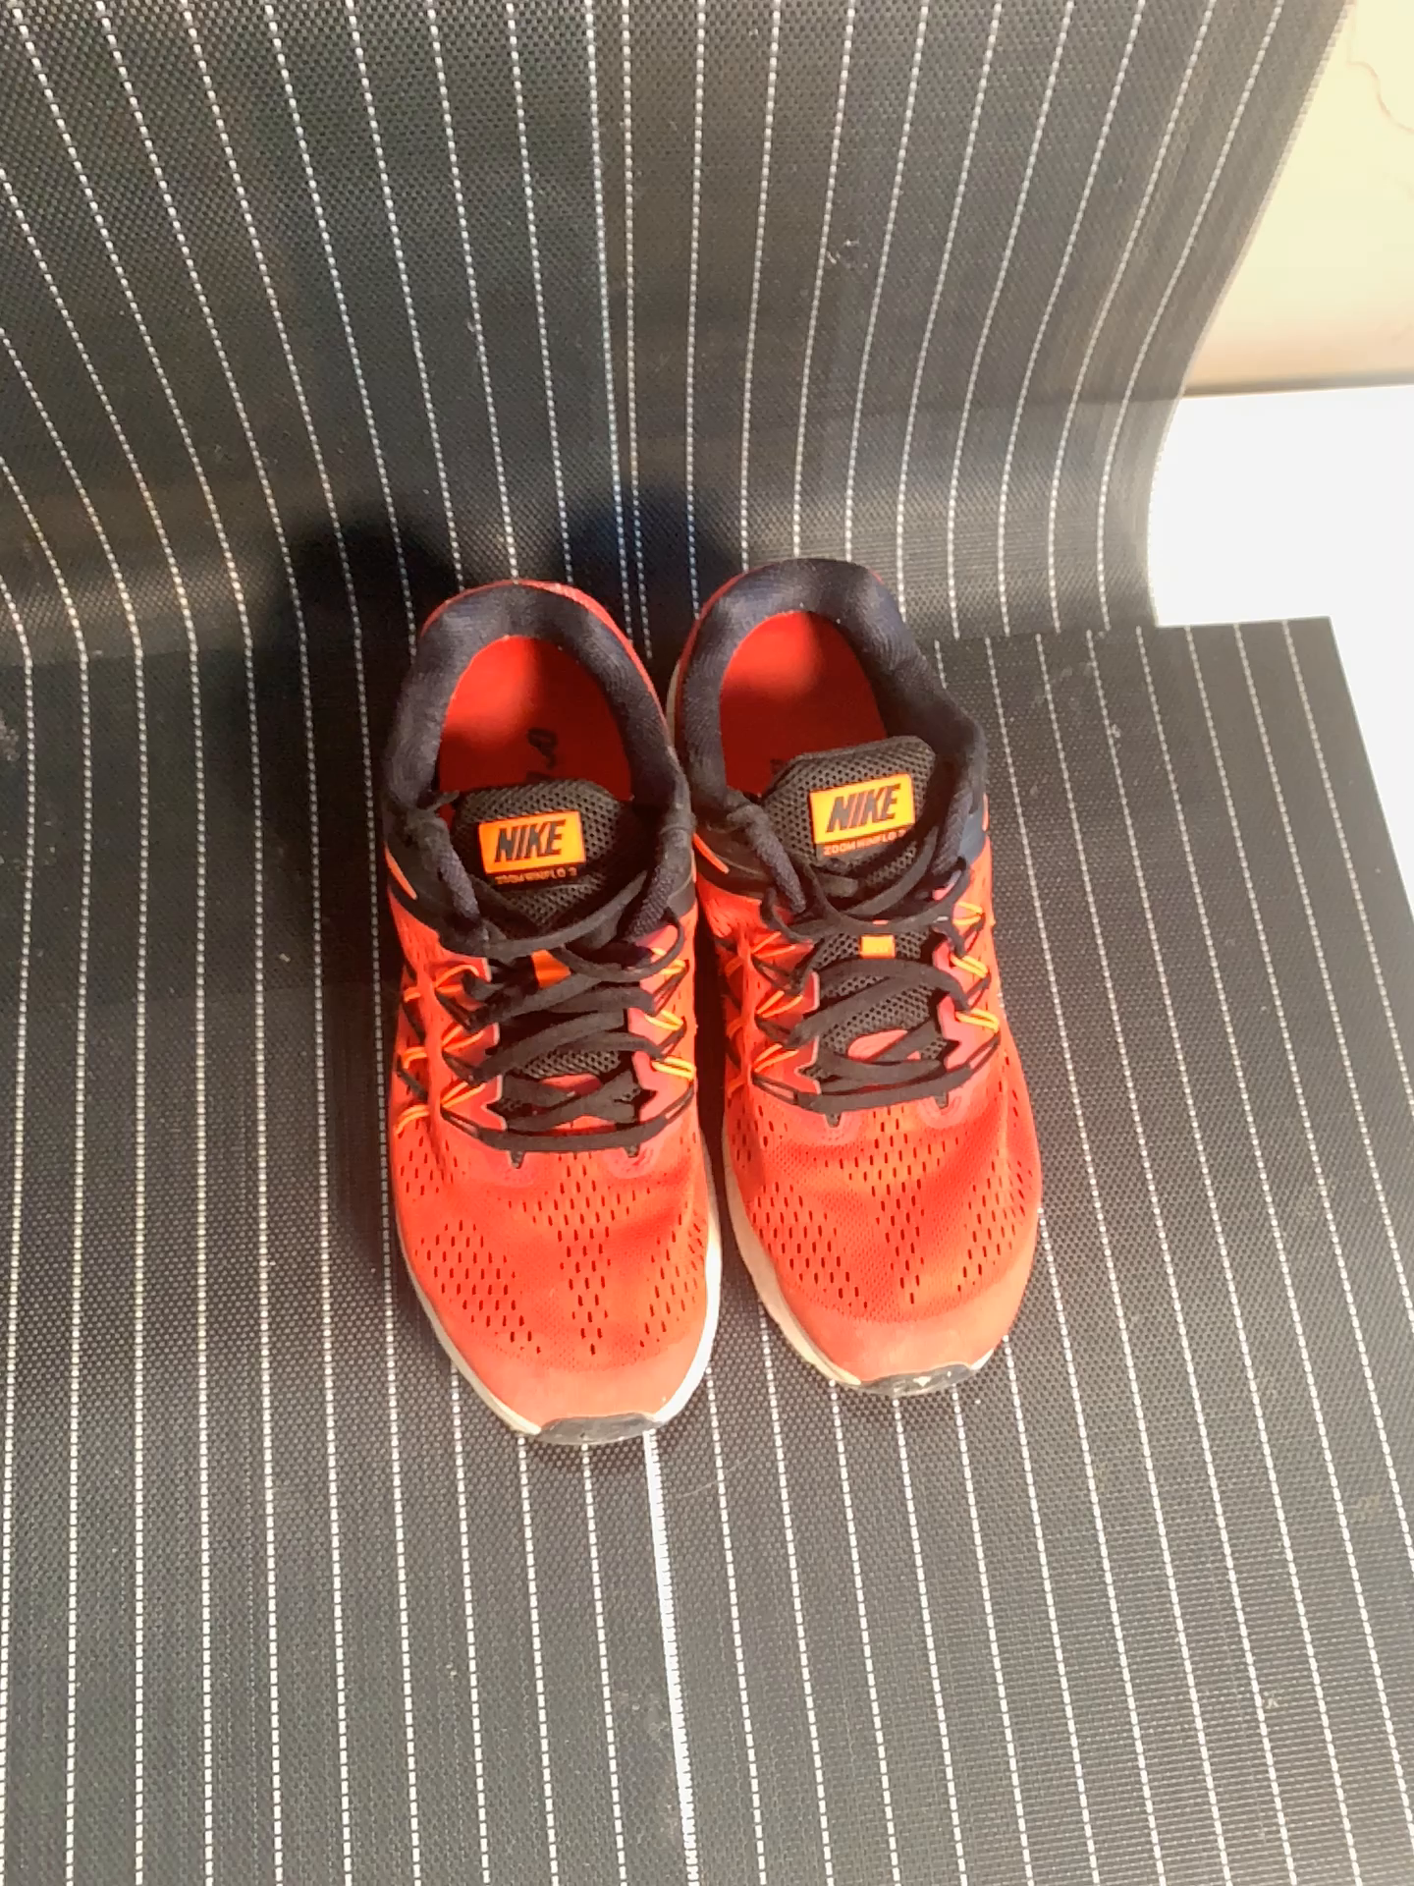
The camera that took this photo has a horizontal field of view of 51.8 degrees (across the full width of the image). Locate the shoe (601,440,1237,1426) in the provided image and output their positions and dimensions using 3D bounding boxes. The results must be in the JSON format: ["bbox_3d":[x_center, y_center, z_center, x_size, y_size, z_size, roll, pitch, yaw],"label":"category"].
[{"bbox_3d":[0.048,-0.002,0.452,0.120,0.110,0.270,-9,73,-6],"label":"shoe"}]

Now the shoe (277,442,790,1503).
[{"bbox_3d":[-0.059,0.007,0.460,0.120,0.110,0.300,-5,72,-5],"label":"shoe"}]
